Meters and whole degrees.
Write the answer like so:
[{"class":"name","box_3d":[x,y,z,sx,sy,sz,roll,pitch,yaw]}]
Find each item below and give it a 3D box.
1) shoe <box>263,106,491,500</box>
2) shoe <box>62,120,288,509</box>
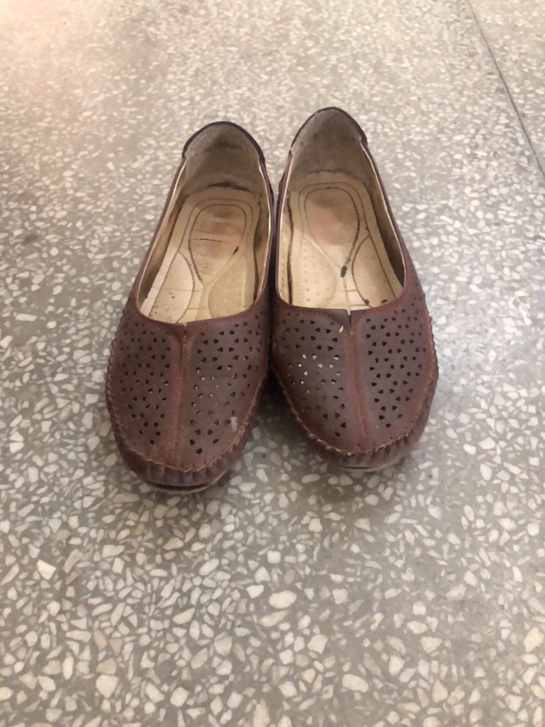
[{"class":"shoe","box_3d":[0.043,-0.052,0.351,0.090,0.060,0.251,-2,52,0]},{"class":"shoe","box_3d":[-0.039,-0.046,0.356,0.090,0.060,0.251,1,52,3]}]
